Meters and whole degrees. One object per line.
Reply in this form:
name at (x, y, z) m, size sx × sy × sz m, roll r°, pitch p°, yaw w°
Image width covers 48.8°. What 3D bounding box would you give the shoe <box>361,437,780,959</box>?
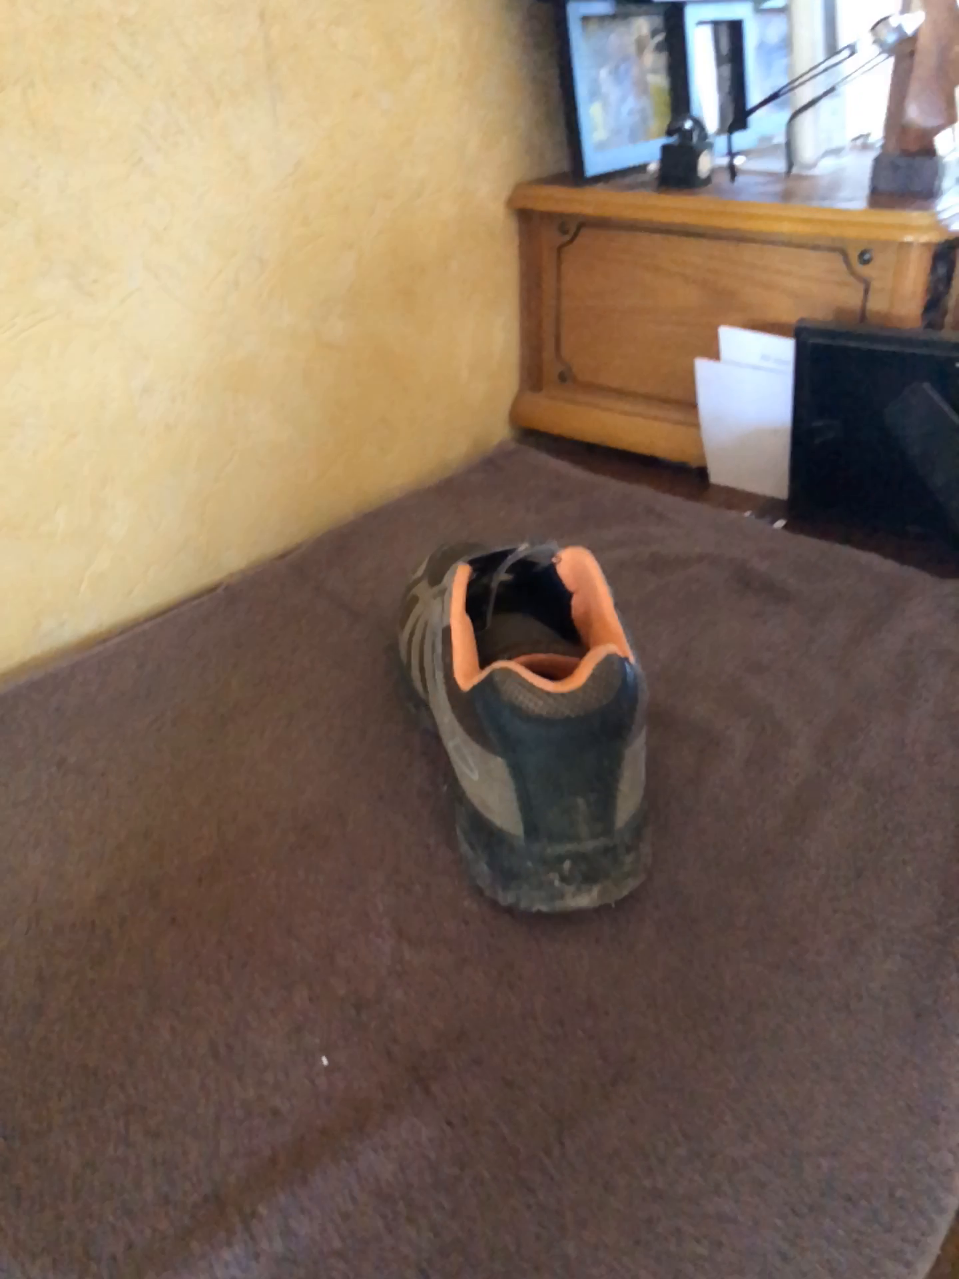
shoe at (0.021, 0.003, 0.496) m, size 0.110 × 0.099 × 0.271 m, roll -8°, pitch 31°, yaw -11°
